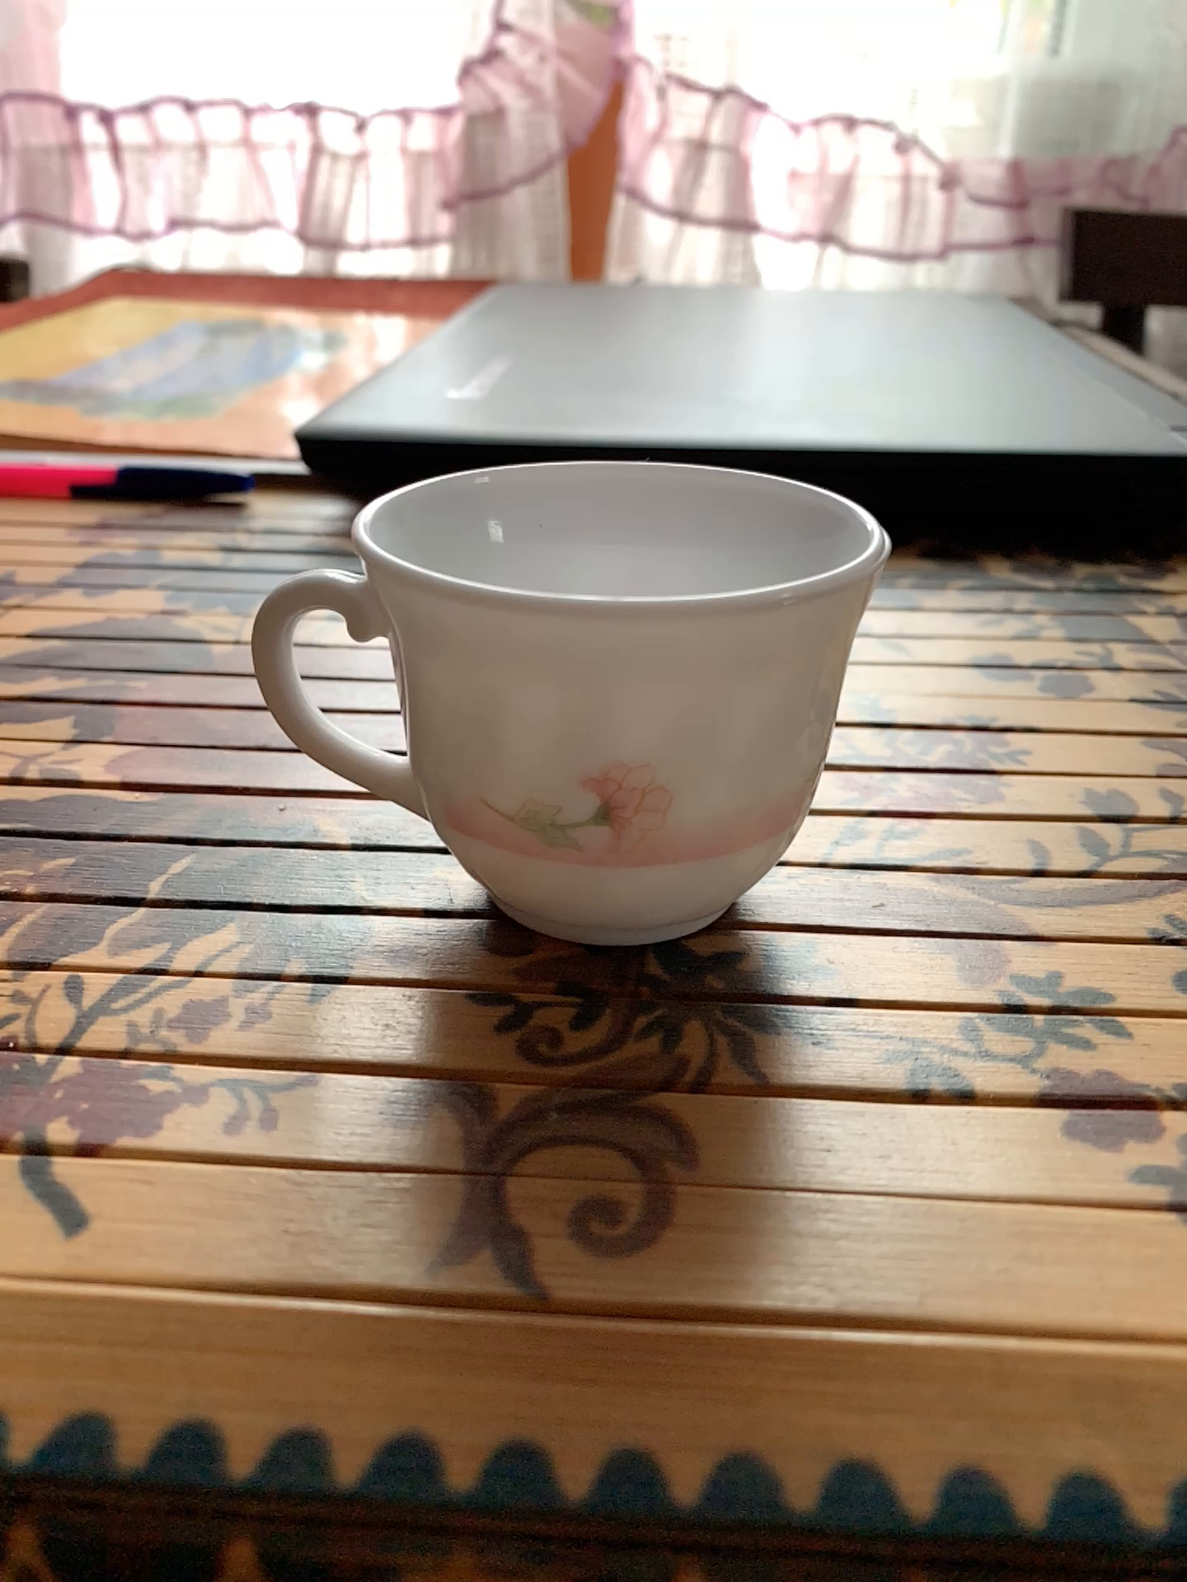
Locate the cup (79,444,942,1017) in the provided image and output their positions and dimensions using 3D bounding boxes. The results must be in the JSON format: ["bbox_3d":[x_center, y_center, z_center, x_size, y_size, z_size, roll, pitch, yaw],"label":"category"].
[{"bbox_3d":[-0.004,-0.013,0.152,0.080,0.039,0.068,5,27,8],"label":"cup"}]
